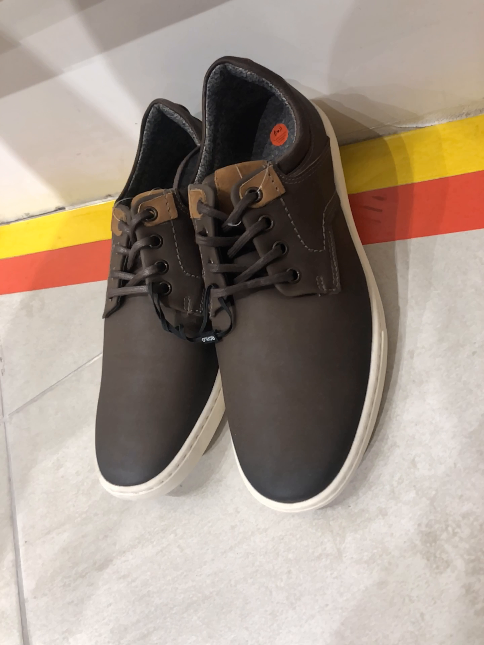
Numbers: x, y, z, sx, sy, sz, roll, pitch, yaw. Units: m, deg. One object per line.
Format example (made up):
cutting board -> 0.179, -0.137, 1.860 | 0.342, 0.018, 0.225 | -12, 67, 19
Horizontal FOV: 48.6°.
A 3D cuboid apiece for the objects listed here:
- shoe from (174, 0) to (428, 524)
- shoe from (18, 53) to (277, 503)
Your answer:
shoe -> 0.030, -0.031, 0.312 | 0.100, 0.100, 0.271 | -10, 71, 25
shoe -> -0.051, -0.024, 0.366 | 0.100, 0.099, 0.271 | -4, 71, 28
